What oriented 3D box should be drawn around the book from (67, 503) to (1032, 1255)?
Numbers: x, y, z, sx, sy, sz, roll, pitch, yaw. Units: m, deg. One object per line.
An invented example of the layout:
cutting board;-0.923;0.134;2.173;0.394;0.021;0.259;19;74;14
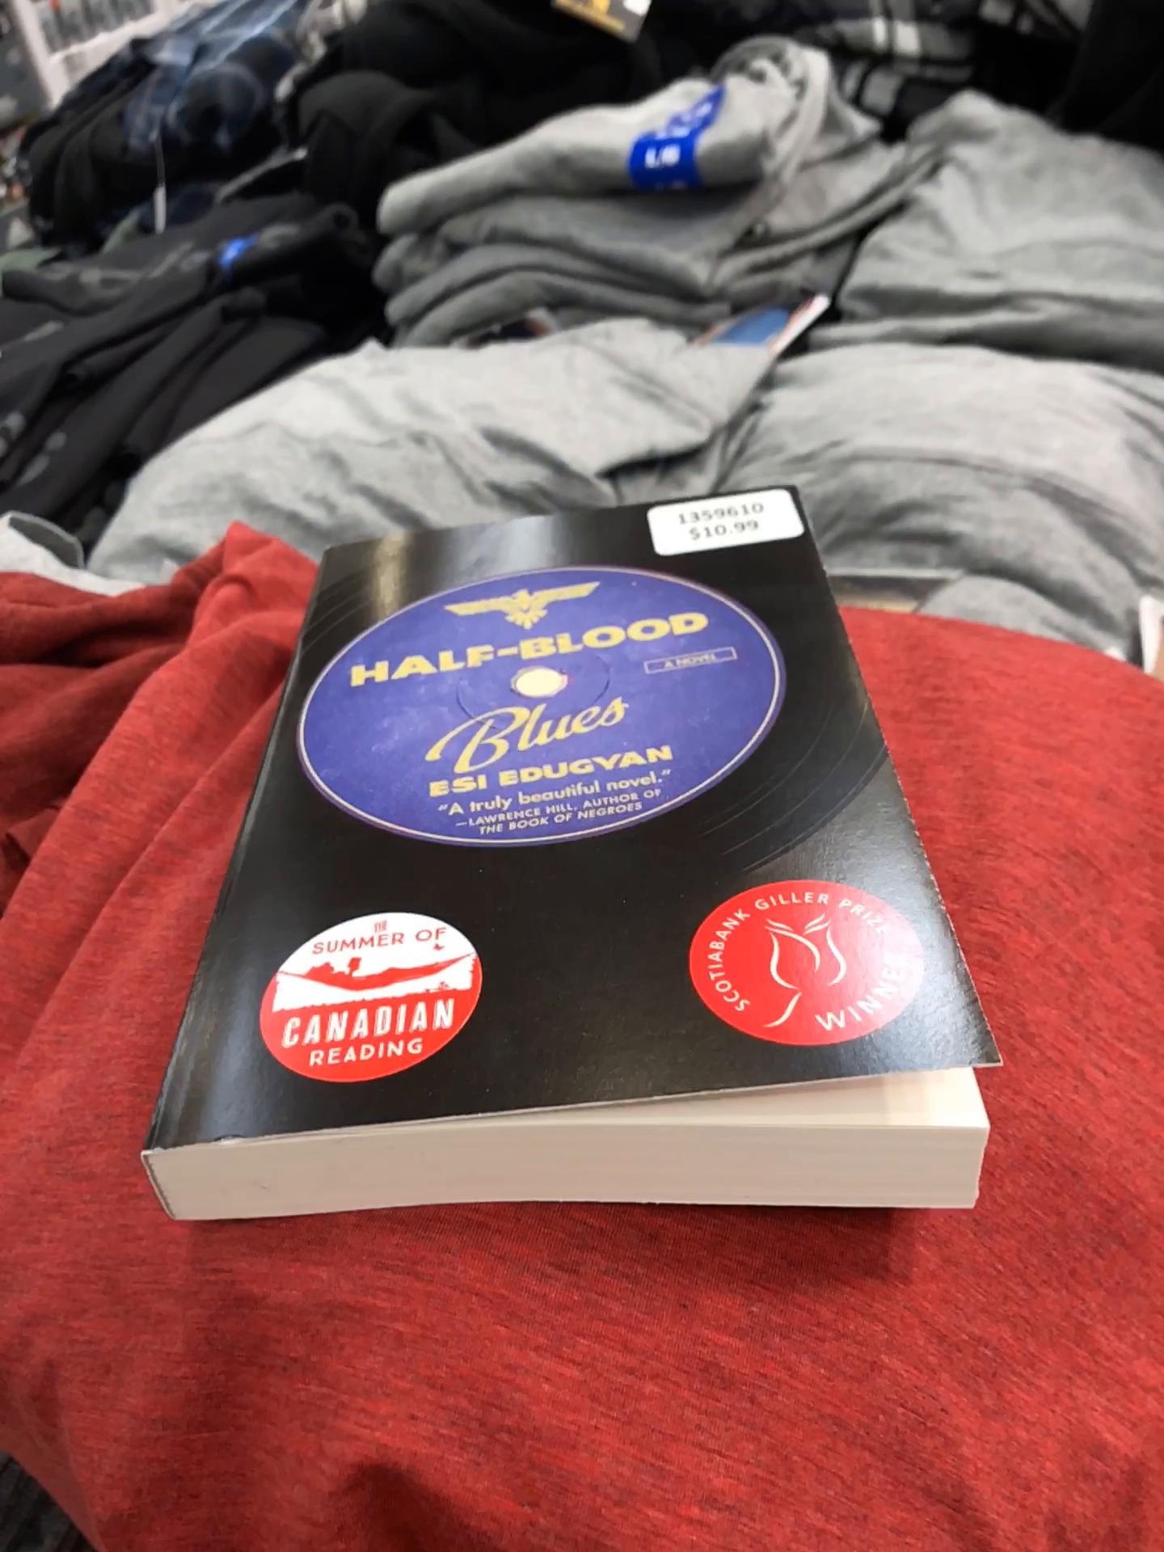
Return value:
book;-0.005;0.000;0.293;0.146;0.025;0.221;-2;36;2
